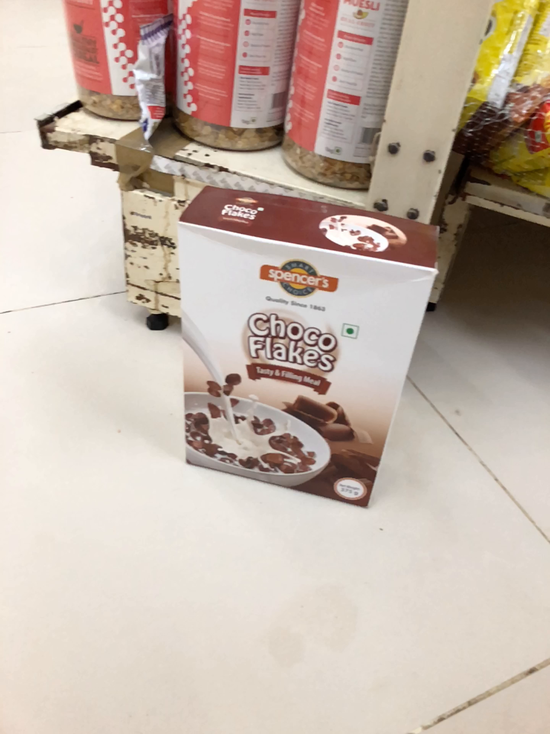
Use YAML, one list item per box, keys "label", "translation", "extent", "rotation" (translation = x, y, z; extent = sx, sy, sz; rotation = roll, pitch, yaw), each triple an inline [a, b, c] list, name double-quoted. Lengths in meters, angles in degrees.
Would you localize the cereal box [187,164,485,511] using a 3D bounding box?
- label: "cereal box"
  translation: [0.035, -0.010, 0.483]
  extent: [0.190, 0.258, 0.060]
  rotation: [12, 41, 9]
